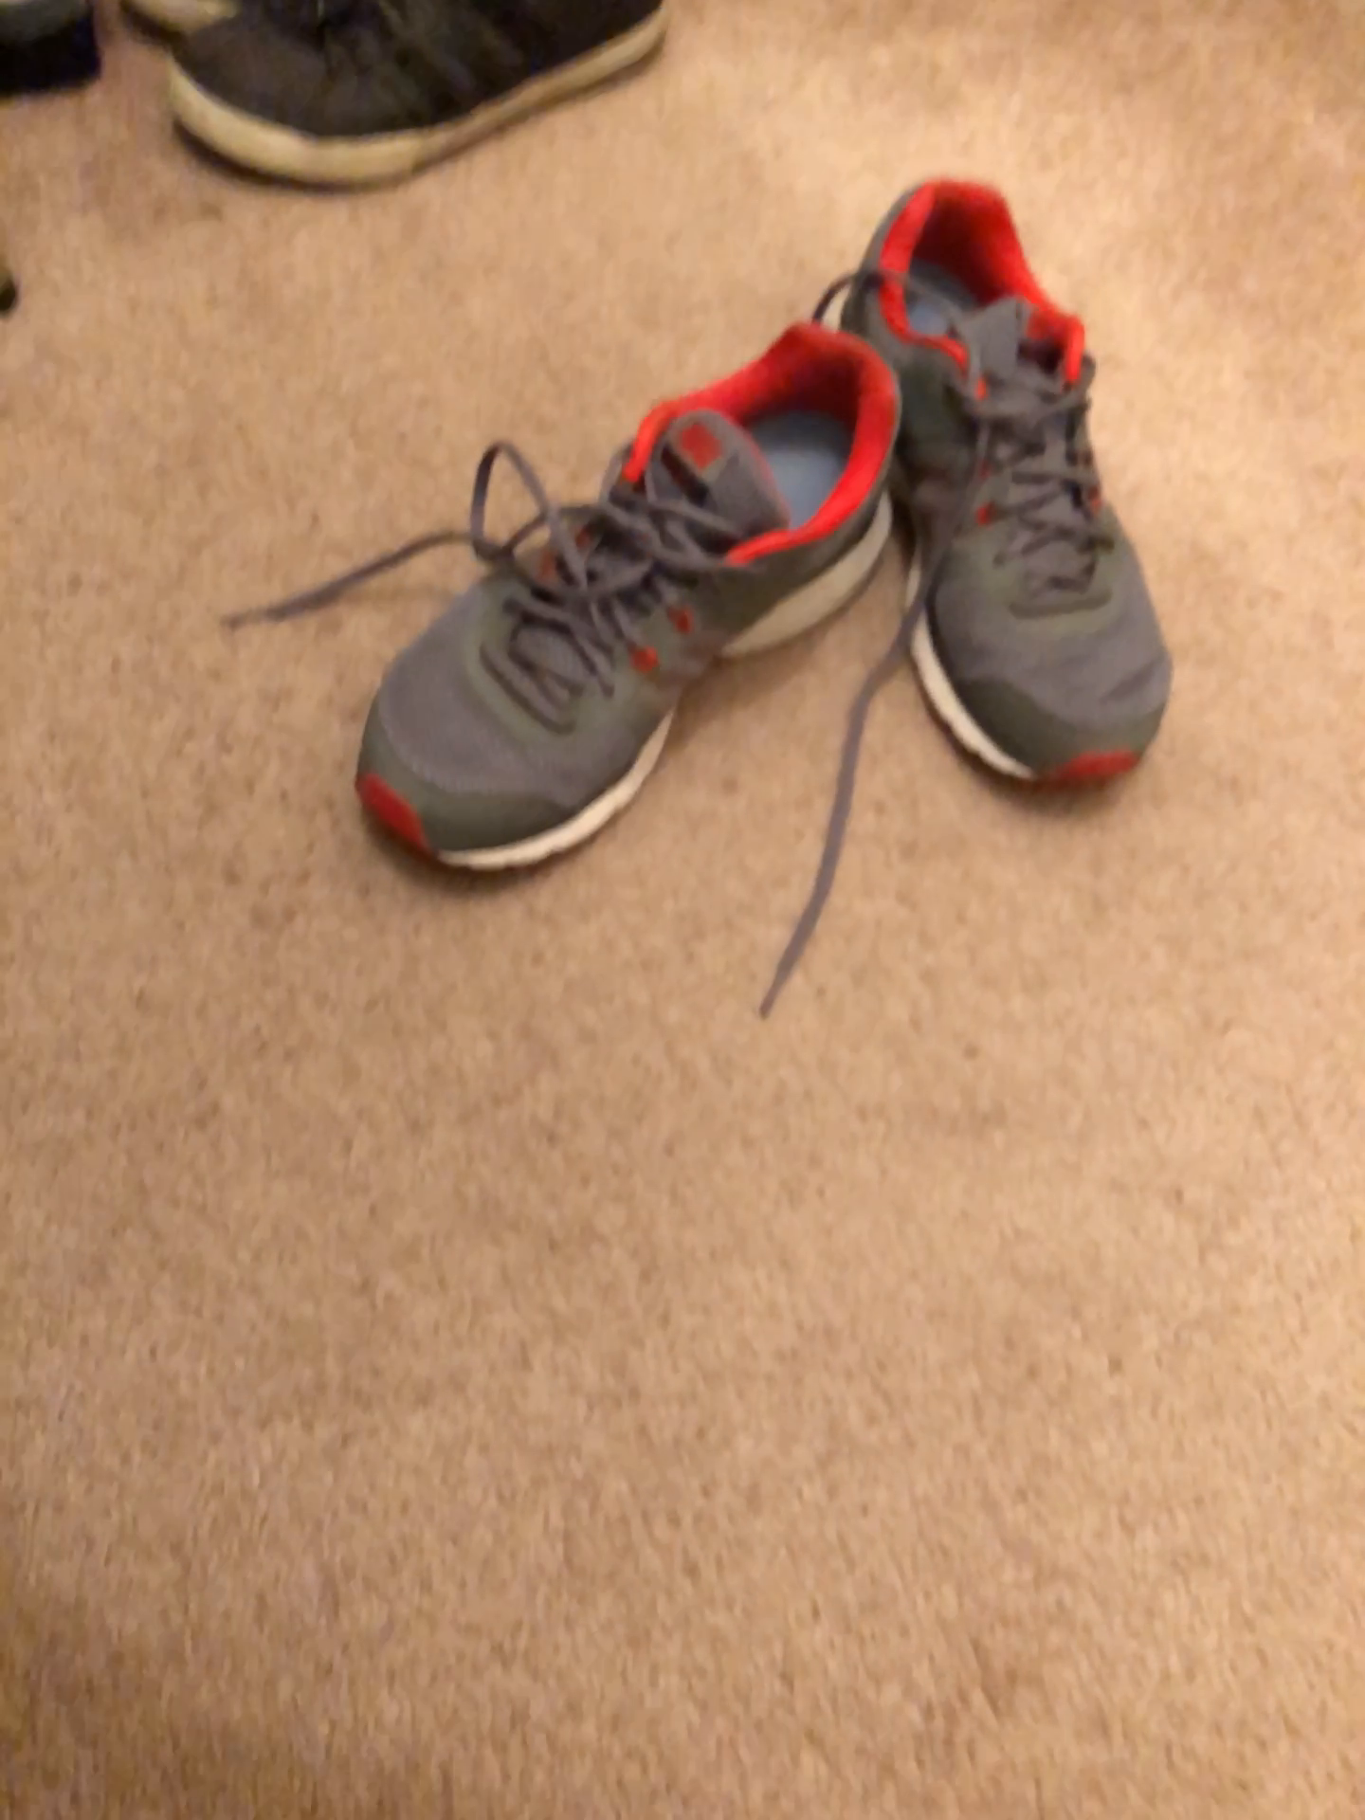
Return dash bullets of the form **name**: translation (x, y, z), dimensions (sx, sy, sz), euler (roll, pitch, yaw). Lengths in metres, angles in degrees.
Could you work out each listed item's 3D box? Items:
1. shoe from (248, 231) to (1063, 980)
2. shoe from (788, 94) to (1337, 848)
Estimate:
- **shoe**: translation (-0.005, -0.124, 0.601), dimensions (0.298, 0.120, 0.113), euler (-39, 75, -21)
- **shoe**: translation (0.145, -0.192, 0.651), dimensions (0.113, 0.120, 0.298), euler (-8, 67, -11)
